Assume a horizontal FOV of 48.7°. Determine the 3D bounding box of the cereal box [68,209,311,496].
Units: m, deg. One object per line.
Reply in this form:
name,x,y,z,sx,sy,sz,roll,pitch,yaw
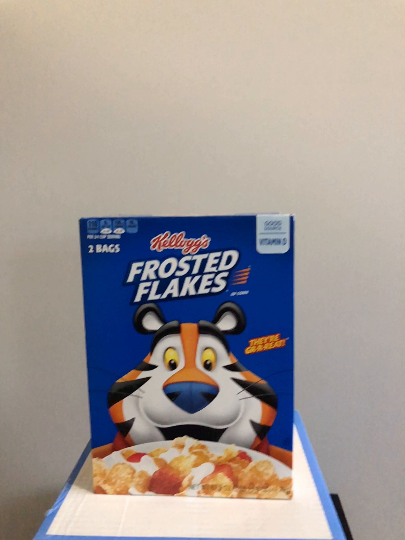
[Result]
cereal box,-0.006,0.085,0.579,0.260,0.320,0.170,-1,7,5
